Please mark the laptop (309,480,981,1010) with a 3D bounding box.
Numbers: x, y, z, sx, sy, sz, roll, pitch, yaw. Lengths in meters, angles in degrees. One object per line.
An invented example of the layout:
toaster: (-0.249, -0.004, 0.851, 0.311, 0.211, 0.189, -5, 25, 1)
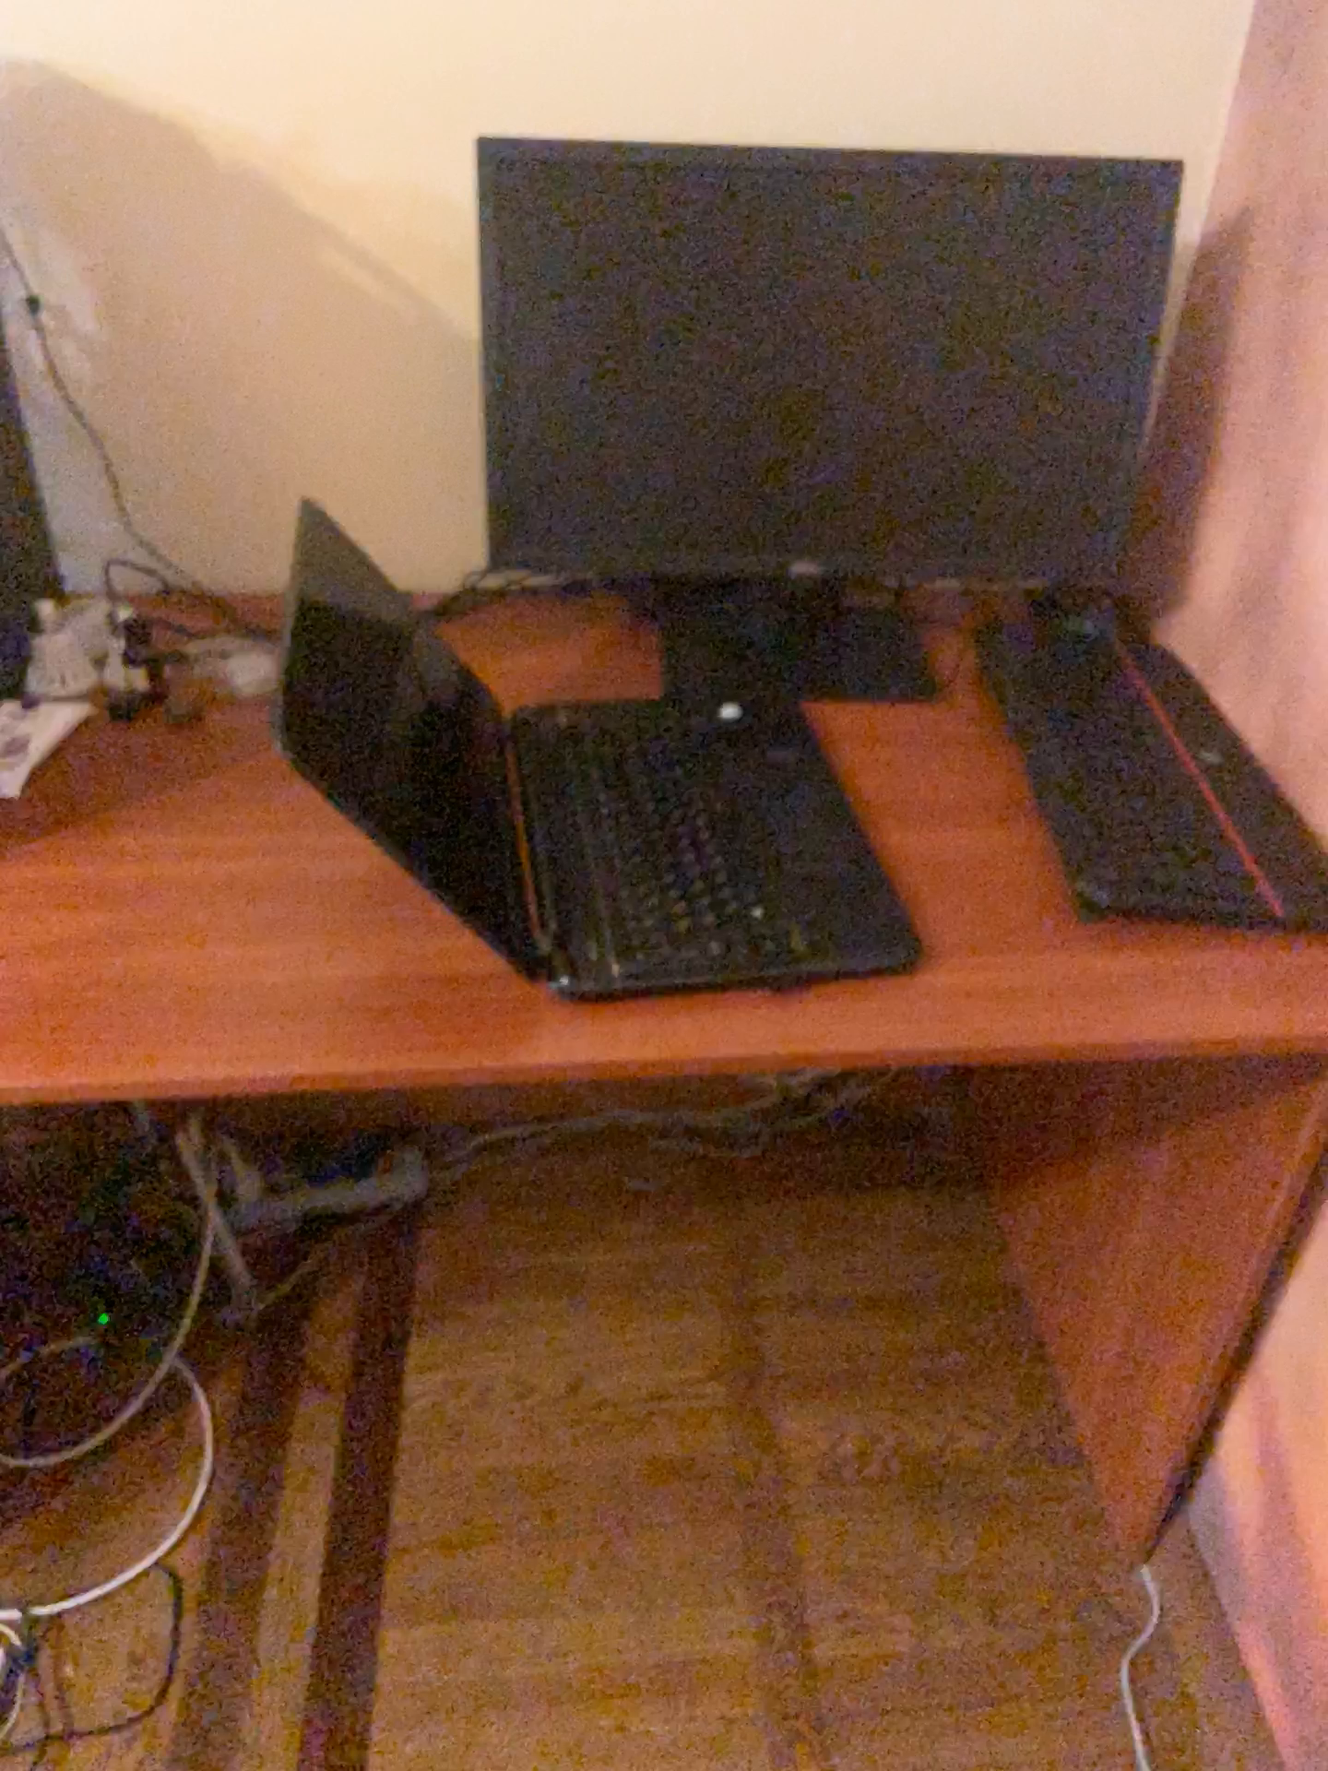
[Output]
laptop: (-0.039, -0.119, 0.939, 0.368, 0.181, 0.368, -5, 36, -7)
